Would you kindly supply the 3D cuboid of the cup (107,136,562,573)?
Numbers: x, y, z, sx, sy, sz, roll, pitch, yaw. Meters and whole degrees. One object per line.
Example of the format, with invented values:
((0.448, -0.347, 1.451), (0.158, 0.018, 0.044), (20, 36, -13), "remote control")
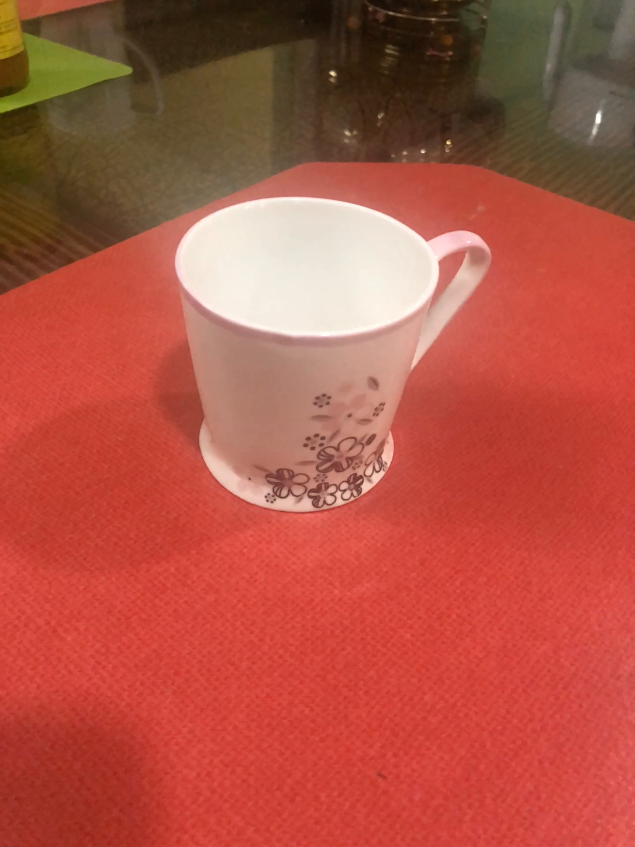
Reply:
((0.004, -0.026, 0.217), (0.100, 0.080, 0.070), (-26, 50, -28), "cup")
